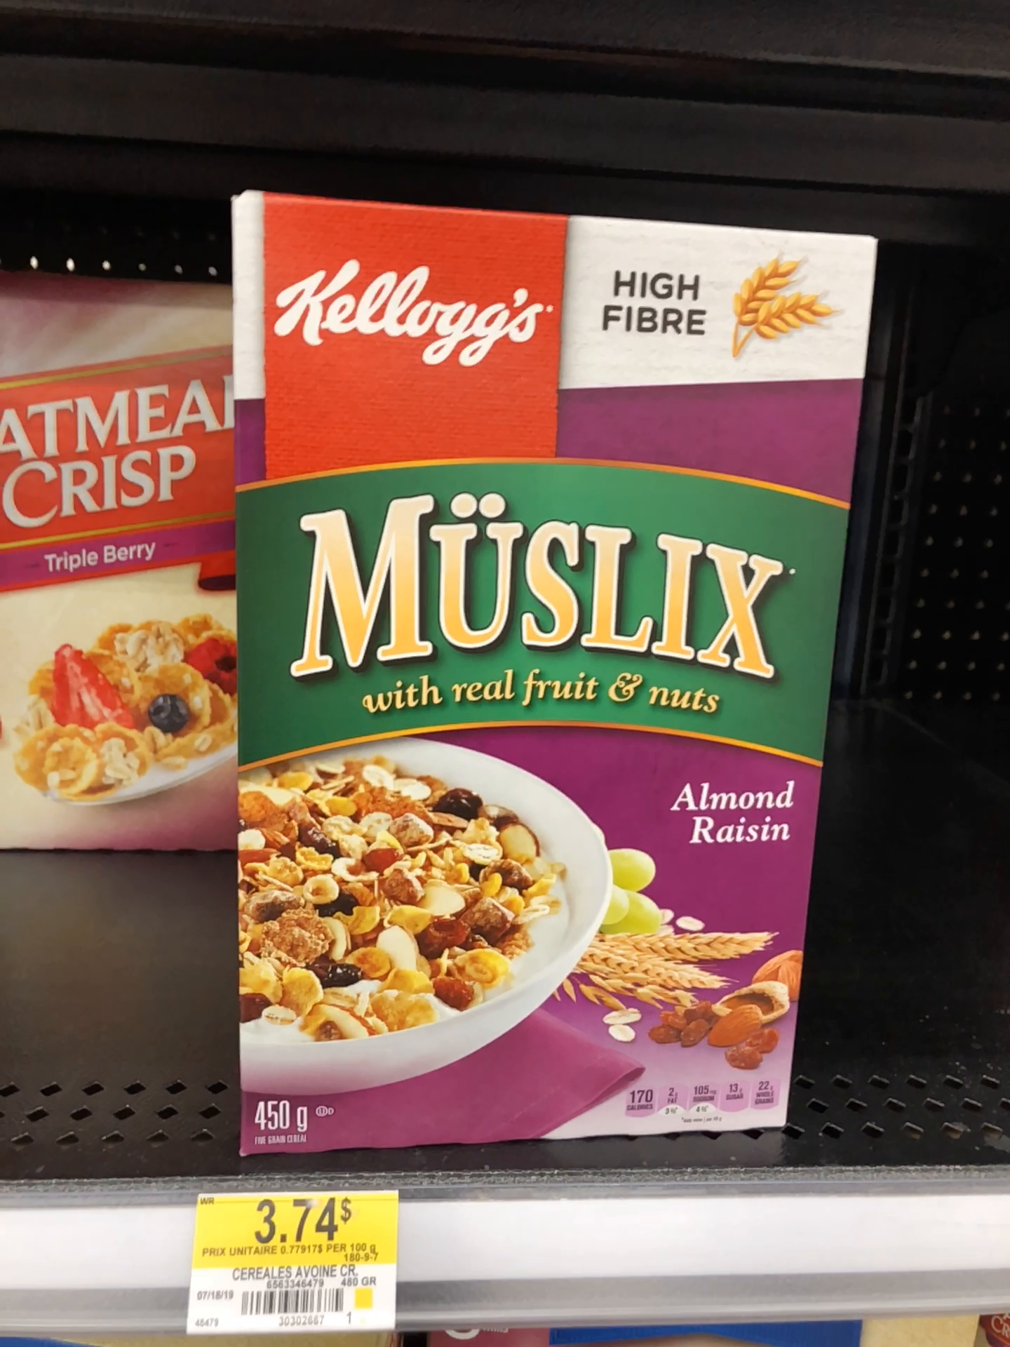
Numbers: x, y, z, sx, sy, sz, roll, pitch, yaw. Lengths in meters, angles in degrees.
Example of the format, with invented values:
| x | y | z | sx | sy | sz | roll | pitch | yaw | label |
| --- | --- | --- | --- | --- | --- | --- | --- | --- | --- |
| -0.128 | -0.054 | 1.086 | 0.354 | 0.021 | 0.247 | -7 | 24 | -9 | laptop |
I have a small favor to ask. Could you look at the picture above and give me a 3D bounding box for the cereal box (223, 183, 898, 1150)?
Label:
| x | y | z | sx | sy | sz | roll | pitch | yaw | label |
| --- | --- | --- | --- | --- | --- | --- | --- | --- | --- |
| 0.007 | 0.004 | 0.334 | 0.170 | 0.259 | 0.060 | 1 | 13 | -8 | cereal box |
